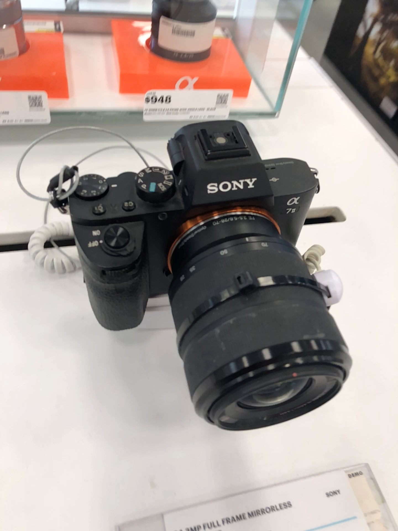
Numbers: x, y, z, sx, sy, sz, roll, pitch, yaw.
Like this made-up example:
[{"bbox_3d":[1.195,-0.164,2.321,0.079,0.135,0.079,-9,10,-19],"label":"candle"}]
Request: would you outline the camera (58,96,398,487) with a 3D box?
[{"bbox_3d":[0.014,0.001,0.227,0.140,0.100,0.150,-9,51,-17],"label":"camera"}]
